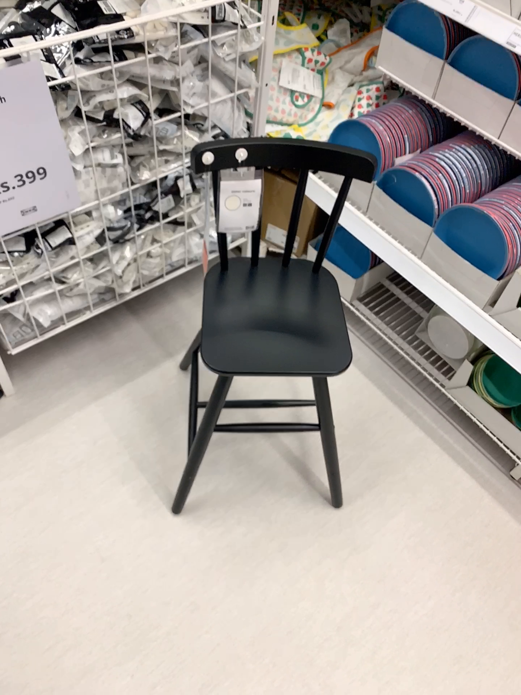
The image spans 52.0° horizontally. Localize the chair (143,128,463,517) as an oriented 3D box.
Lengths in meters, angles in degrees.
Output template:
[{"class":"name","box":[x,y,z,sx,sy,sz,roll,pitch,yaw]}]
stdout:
[{"class":"chair","box":[0.021,0.004,1.105,0.420,0.688,0.461,1,54,-6]}]
